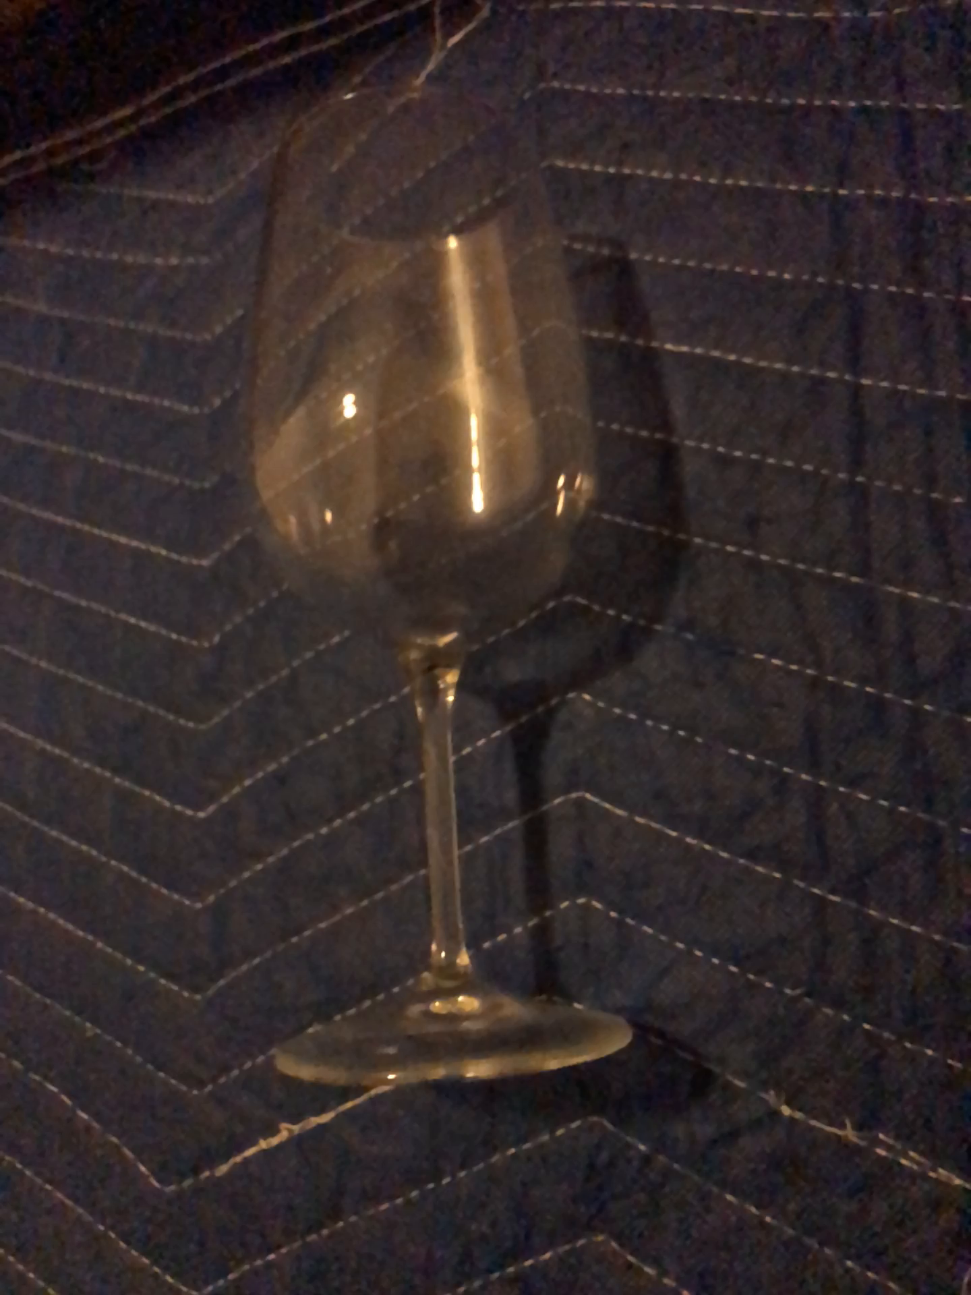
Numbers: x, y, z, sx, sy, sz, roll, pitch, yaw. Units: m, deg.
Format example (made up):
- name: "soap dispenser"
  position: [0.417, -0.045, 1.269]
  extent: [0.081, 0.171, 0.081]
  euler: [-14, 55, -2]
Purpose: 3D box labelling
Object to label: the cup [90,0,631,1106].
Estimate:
- name: "cup"
  position: [-0.026, -0.016, 0.254]
  extent: [0.080, 0.090, 0.210]
  euler: [-8, 77, 24]
